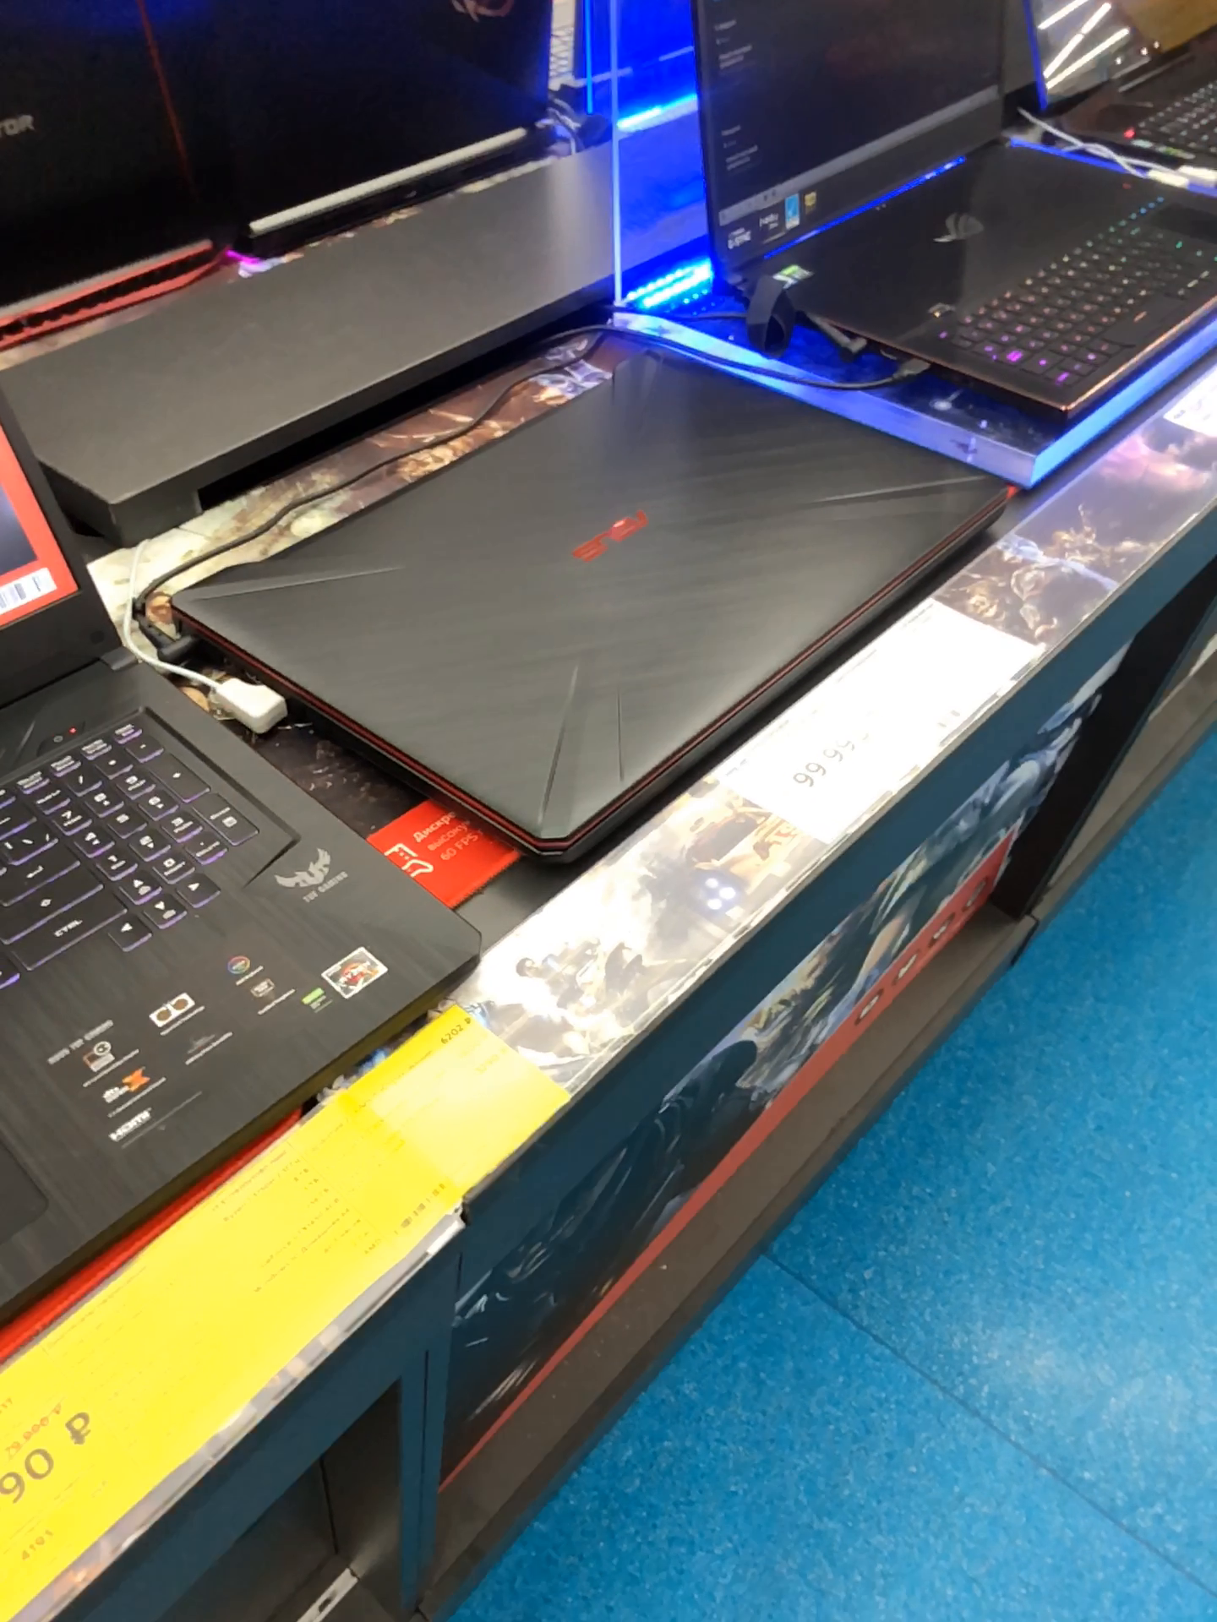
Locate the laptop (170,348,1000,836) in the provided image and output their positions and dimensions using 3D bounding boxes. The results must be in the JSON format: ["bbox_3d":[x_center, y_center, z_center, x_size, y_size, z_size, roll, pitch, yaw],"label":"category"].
[{"bbox_3d":[-0.001,-0.149,0.728,0.253,0.002,0.389,32,53,30],"label":"laptop"}]
